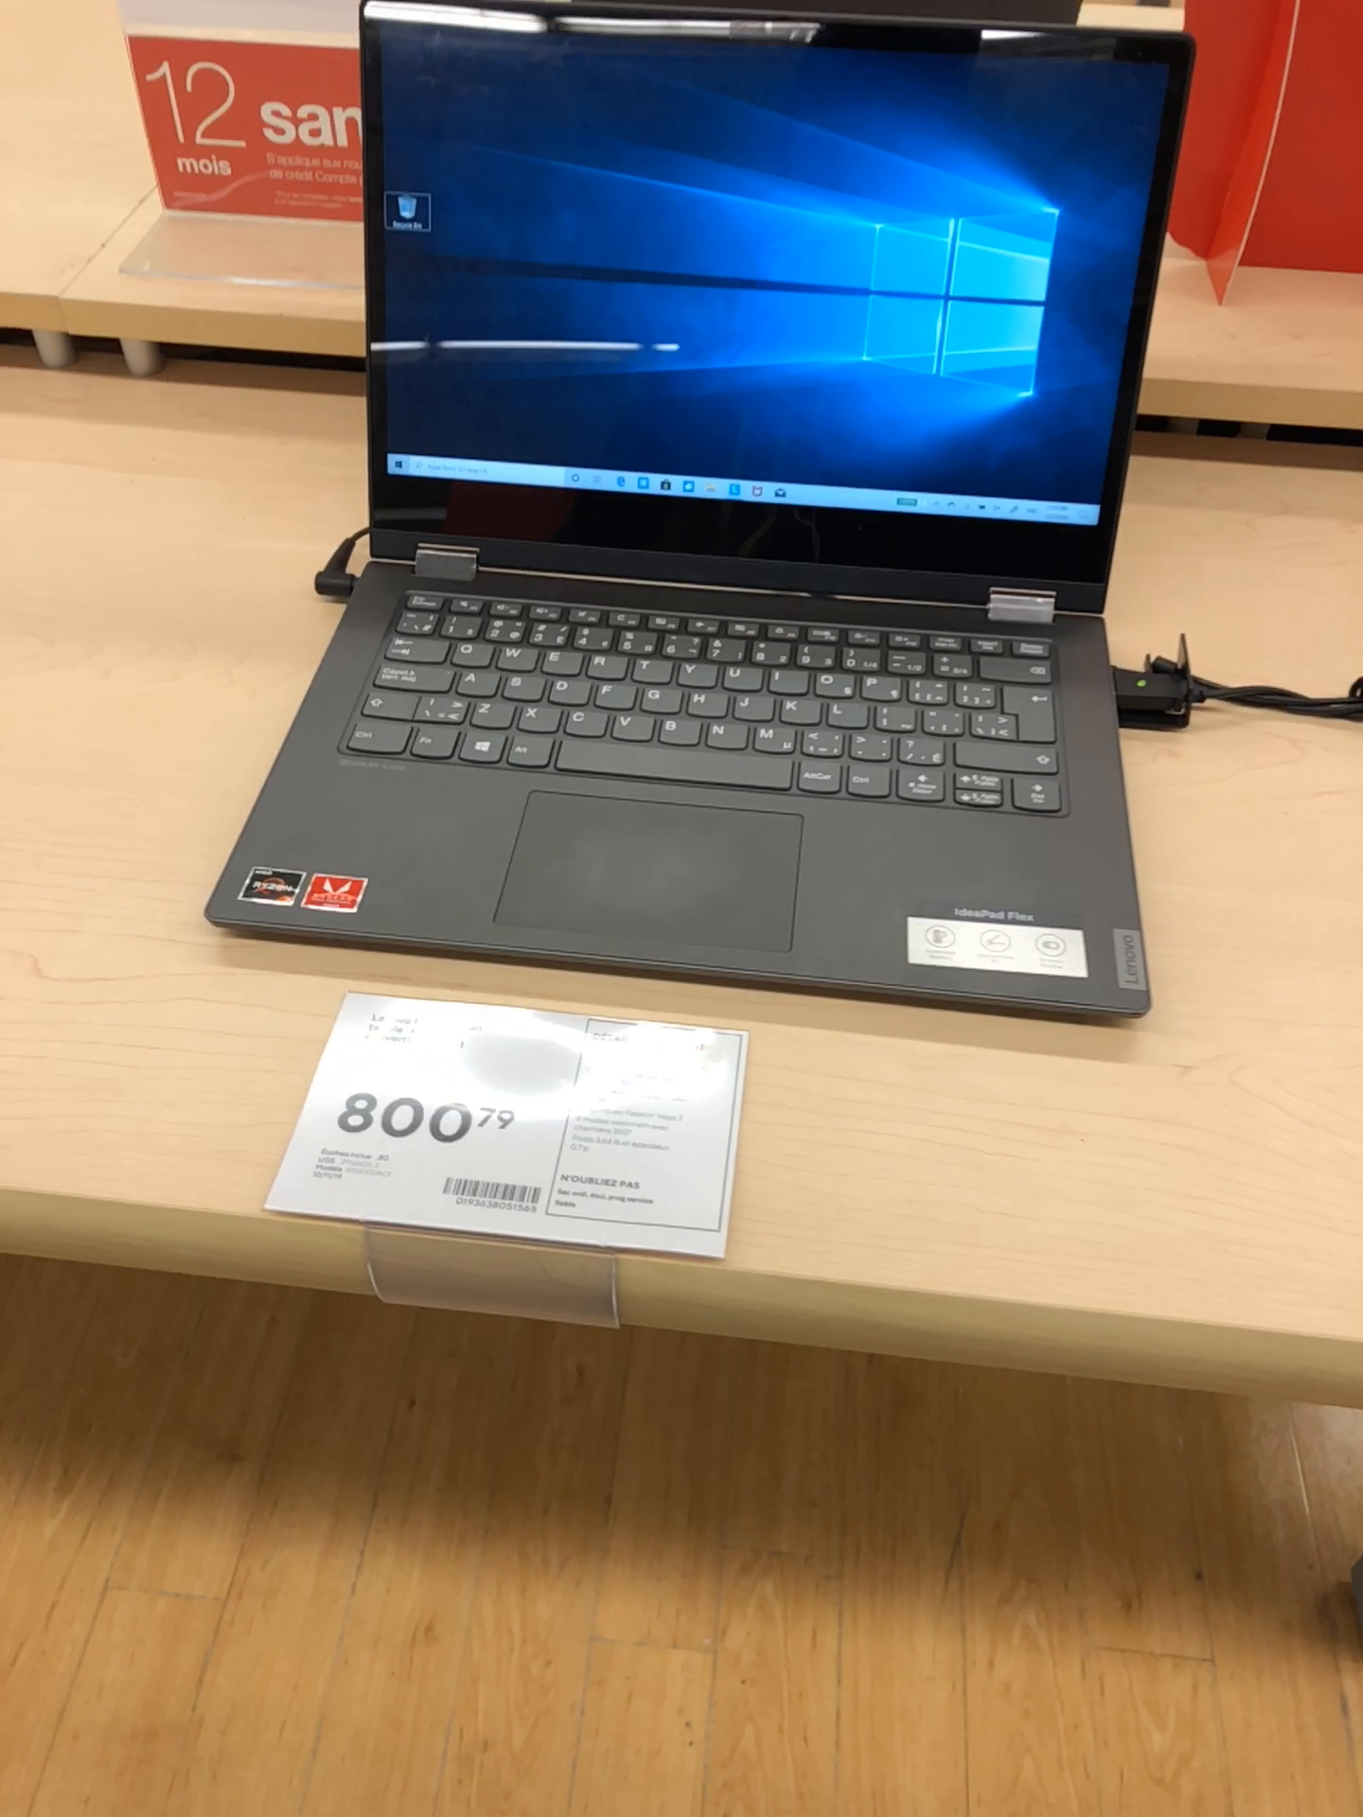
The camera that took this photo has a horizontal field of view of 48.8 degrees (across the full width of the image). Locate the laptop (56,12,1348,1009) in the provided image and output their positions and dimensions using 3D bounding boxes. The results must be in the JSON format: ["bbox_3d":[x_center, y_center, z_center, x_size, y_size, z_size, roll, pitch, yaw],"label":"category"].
[{"bbox_3d":[0.017,-0.159,0.546,0.319,0.199,0.307,6,47,4],"label":"laptop"}]
